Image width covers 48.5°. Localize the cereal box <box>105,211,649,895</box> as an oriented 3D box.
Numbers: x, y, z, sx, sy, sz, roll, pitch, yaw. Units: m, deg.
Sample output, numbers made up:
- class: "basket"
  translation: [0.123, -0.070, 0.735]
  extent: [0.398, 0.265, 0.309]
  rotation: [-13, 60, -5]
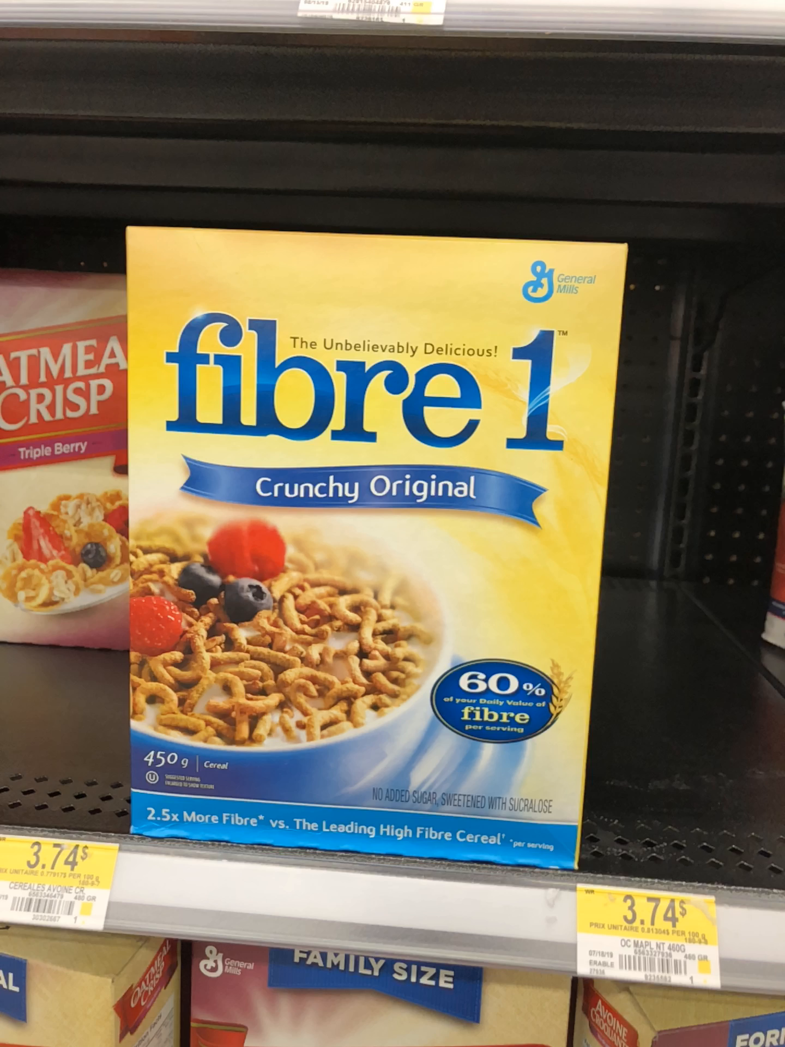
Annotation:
- class: "cereal box"
  translation: [-0.011, 0.011, 0.369]
  extent: [0.200, 0.259, 0.060]
  rotation: [3, 10, 5]
